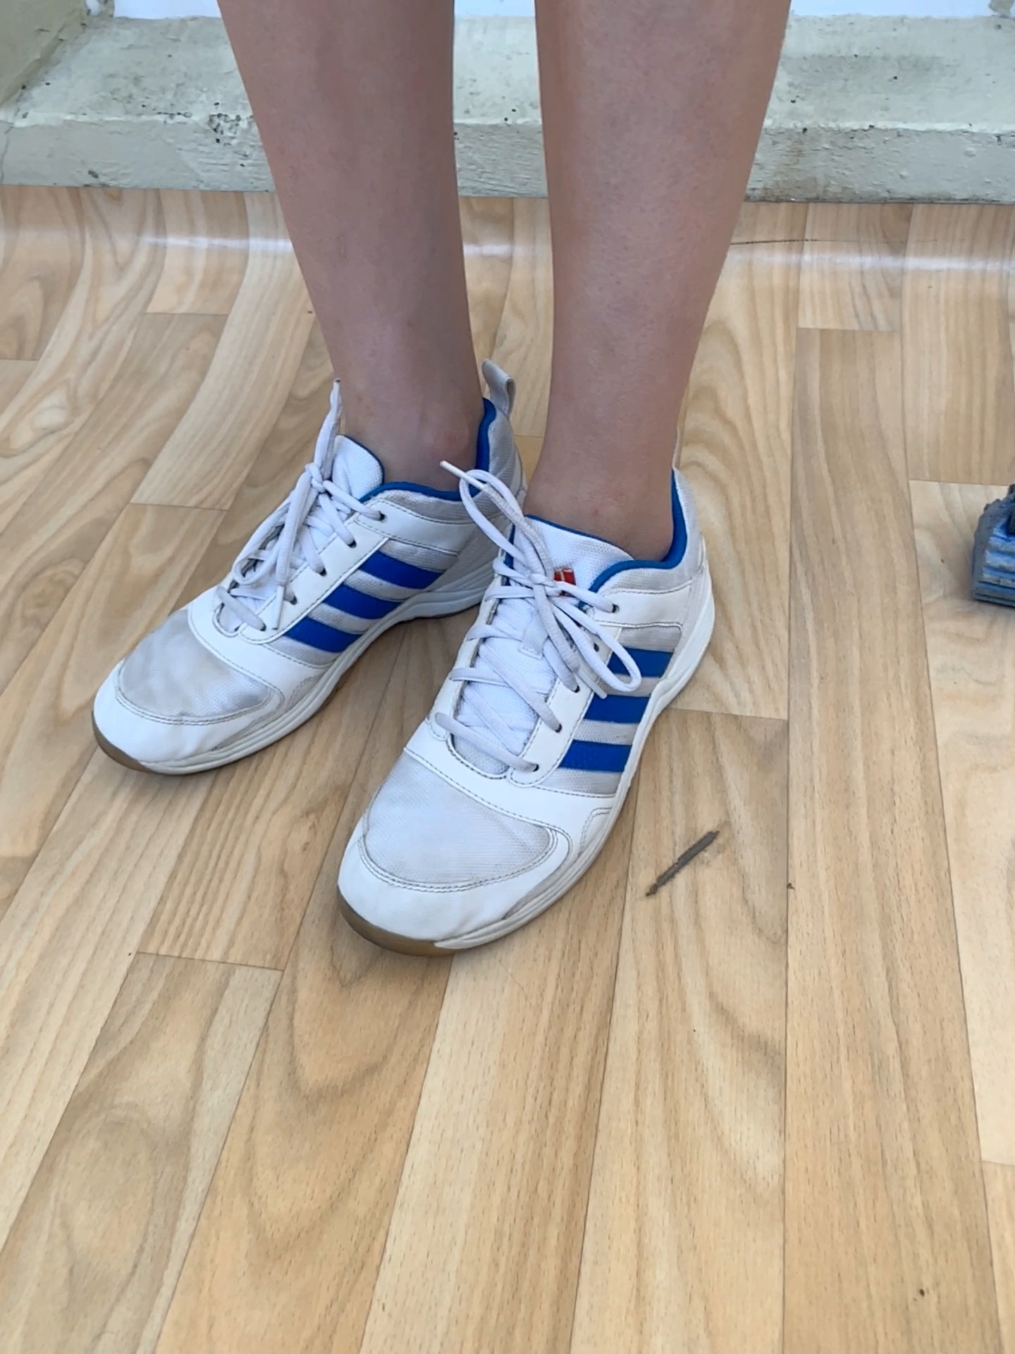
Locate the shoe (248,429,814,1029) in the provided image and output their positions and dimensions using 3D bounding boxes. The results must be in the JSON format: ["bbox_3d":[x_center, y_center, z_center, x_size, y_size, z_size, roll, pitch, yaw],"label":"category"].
[{"bbox_3d":[0.024,0.006,0.462,0.100,0.090,0.261,27,54,26],"label":"shoe"}]

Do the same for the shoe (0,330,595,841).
[{"bbox_3d":[-0.089,-0.054,0.517,0.260,0.120,0.100,-30,52,-23],"label":"shoe"}]
